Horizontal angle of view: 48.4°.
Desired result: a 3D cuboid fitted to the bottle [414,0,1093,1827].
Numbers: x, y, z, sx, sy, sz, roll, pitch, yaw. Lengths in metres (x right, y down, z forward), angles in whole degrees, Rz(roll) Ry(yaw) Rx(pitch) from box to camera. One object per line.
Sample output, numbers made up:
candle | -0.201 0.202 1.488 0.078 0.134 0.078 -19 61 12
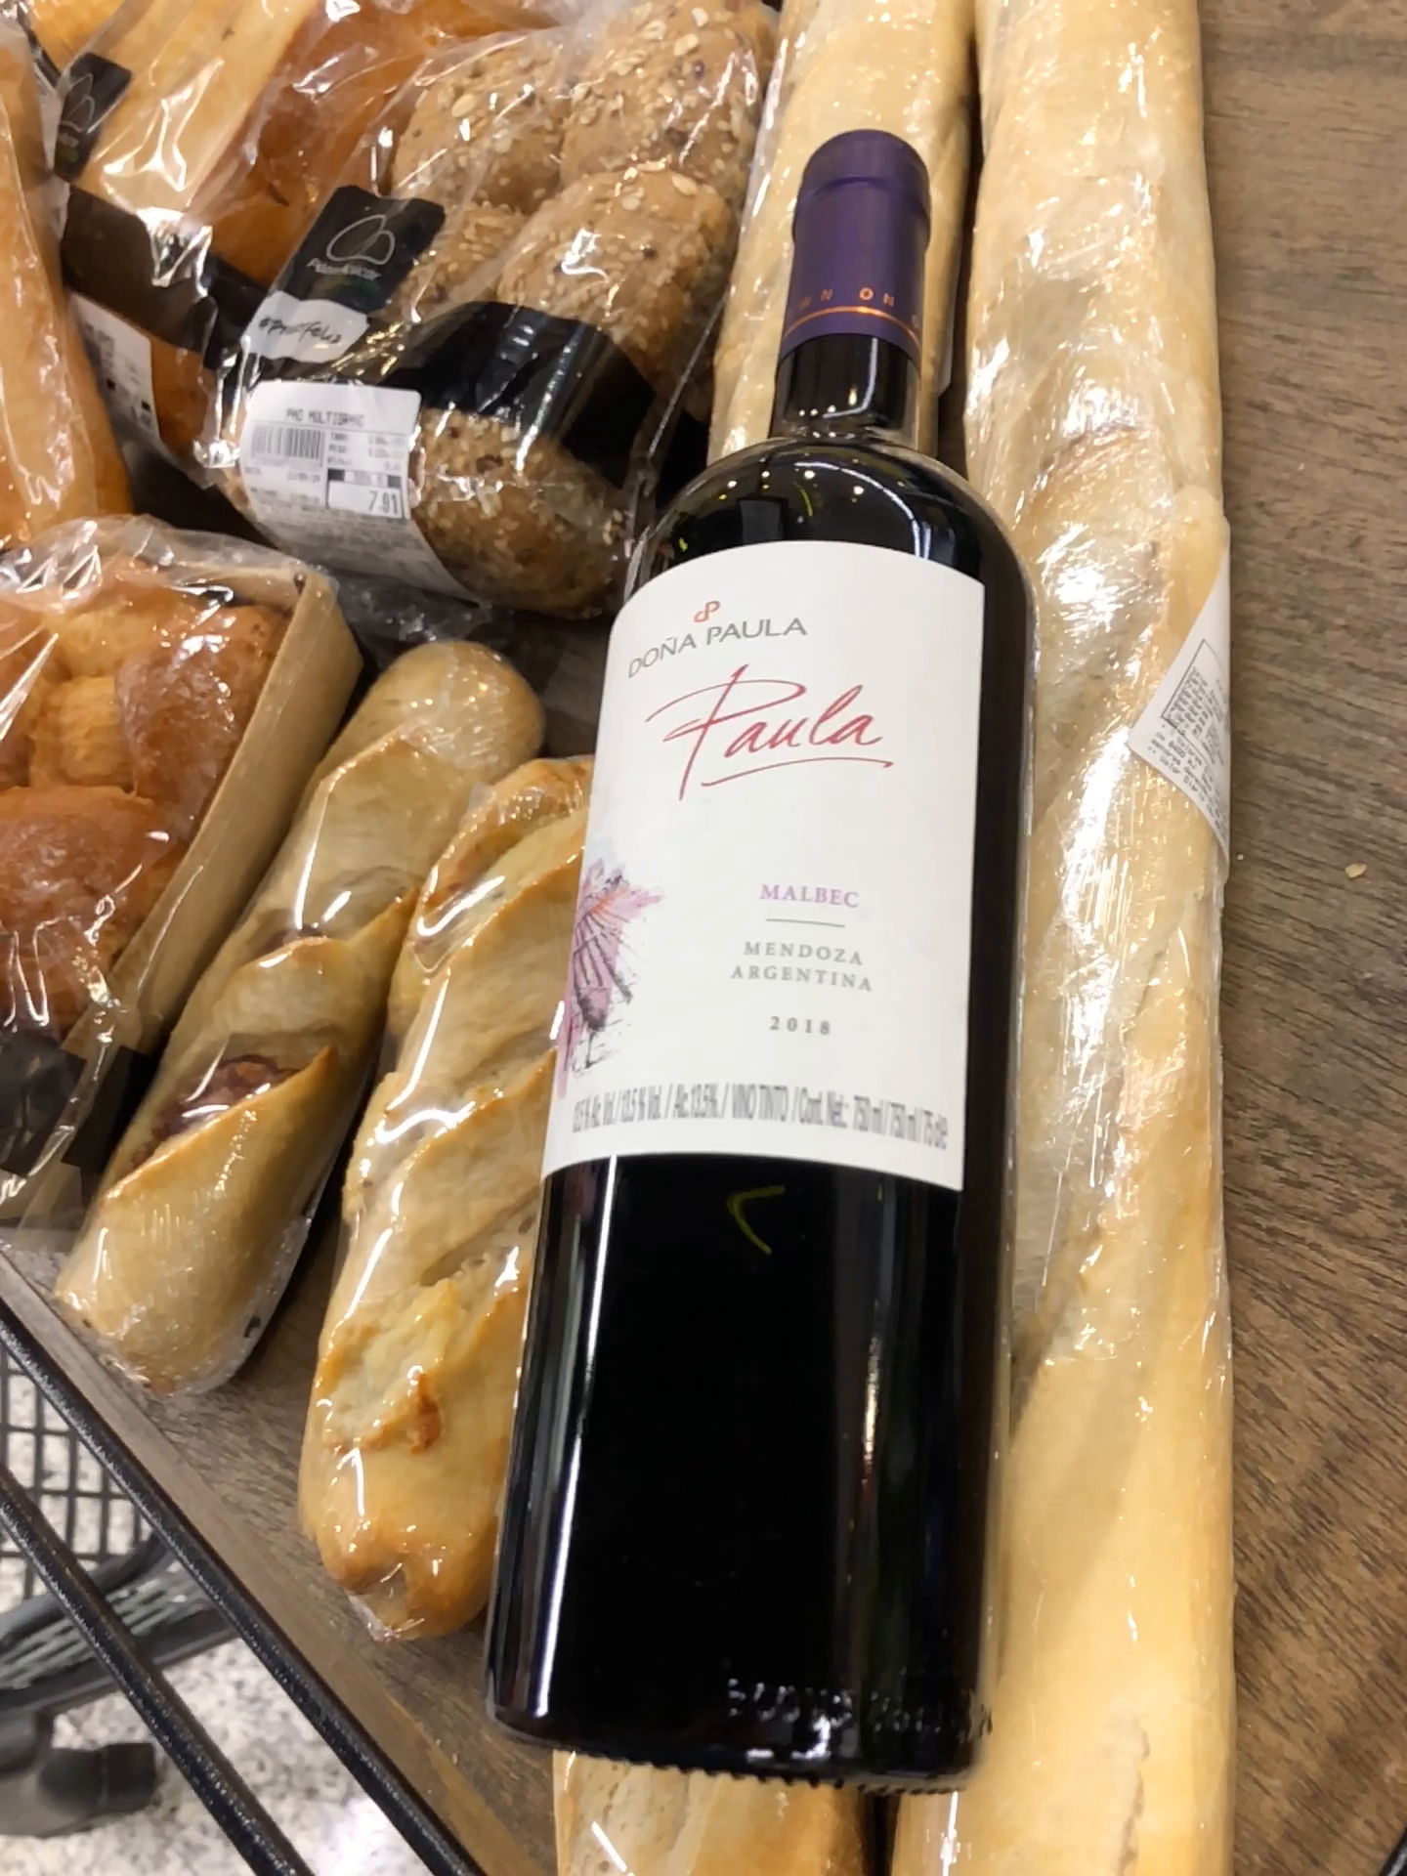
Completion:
bottle | 0.023 -0.028 0.264 0.070 0.060 0.301 -6 64 27
